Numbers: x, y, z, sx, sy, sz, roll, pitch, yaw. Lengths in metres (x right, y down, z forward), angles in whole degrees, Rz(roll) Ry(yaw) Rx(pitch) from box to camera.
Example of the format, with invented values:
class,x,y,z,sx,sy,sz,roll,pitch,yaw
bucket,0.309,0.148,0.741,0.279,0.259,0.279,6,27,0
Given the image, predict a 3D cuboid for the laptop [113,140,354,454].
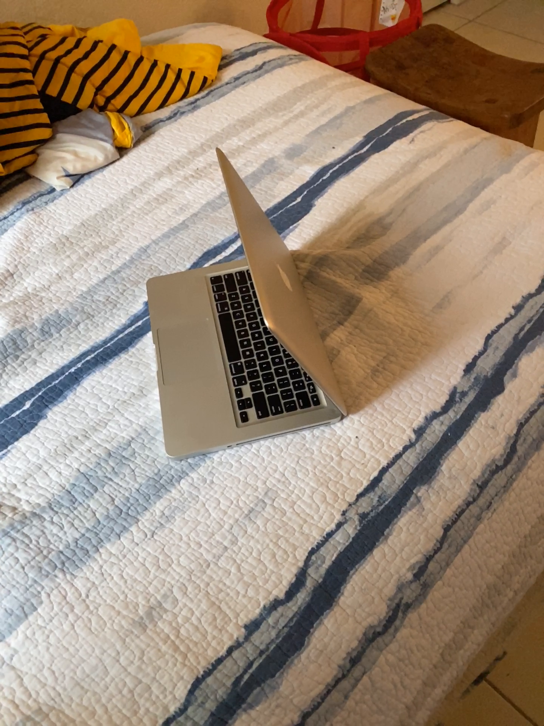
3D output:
class,x,y,z,sx,sy,sz,roll,pitch,yaw
laptop,-0.058,-0.090,0.701,0.220,0.191,0.316,-12,52,-4
